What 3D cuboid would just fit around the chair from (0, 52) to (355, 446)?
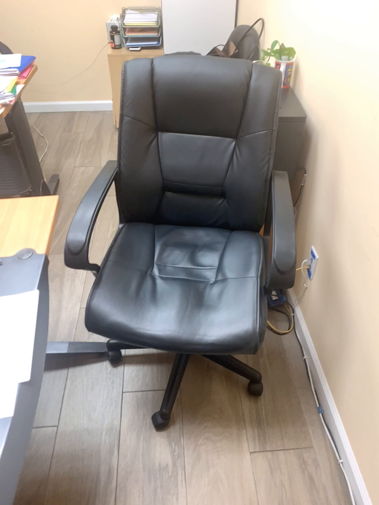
[{"bbox_3d":[-0.014,0.009,1.166,0.620,0.946,0.666,5,42,6],"label":"chair"}]
